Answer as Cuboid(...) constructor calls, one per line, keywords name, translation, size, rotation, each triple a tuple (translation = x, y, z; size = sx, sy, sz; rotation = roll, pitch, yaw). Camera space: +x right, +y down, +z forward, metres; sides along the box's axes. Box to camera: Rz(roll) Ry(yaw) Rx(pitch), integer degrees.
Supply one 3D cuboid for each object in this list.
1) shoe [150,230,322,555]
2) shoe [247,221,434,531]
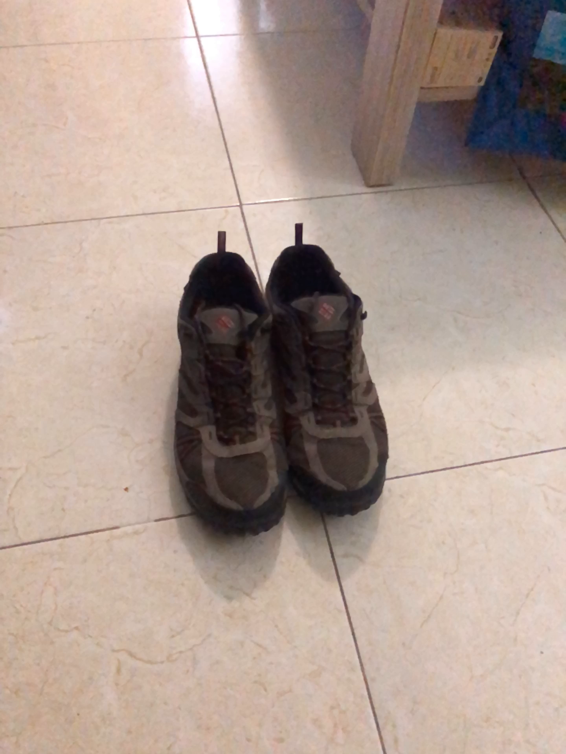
Cuboid(name="shoe", translation=(-0.058, 0.003, 0.639), size=(0.130, 0.110, 0.311), rotation=(-5, 56, -8))
Cuboid(name="shoe", translation=(0.043, -0.013, 0.675), size=(0.120, 0.120, 0.311), rotation=(-6, 56, -9))
